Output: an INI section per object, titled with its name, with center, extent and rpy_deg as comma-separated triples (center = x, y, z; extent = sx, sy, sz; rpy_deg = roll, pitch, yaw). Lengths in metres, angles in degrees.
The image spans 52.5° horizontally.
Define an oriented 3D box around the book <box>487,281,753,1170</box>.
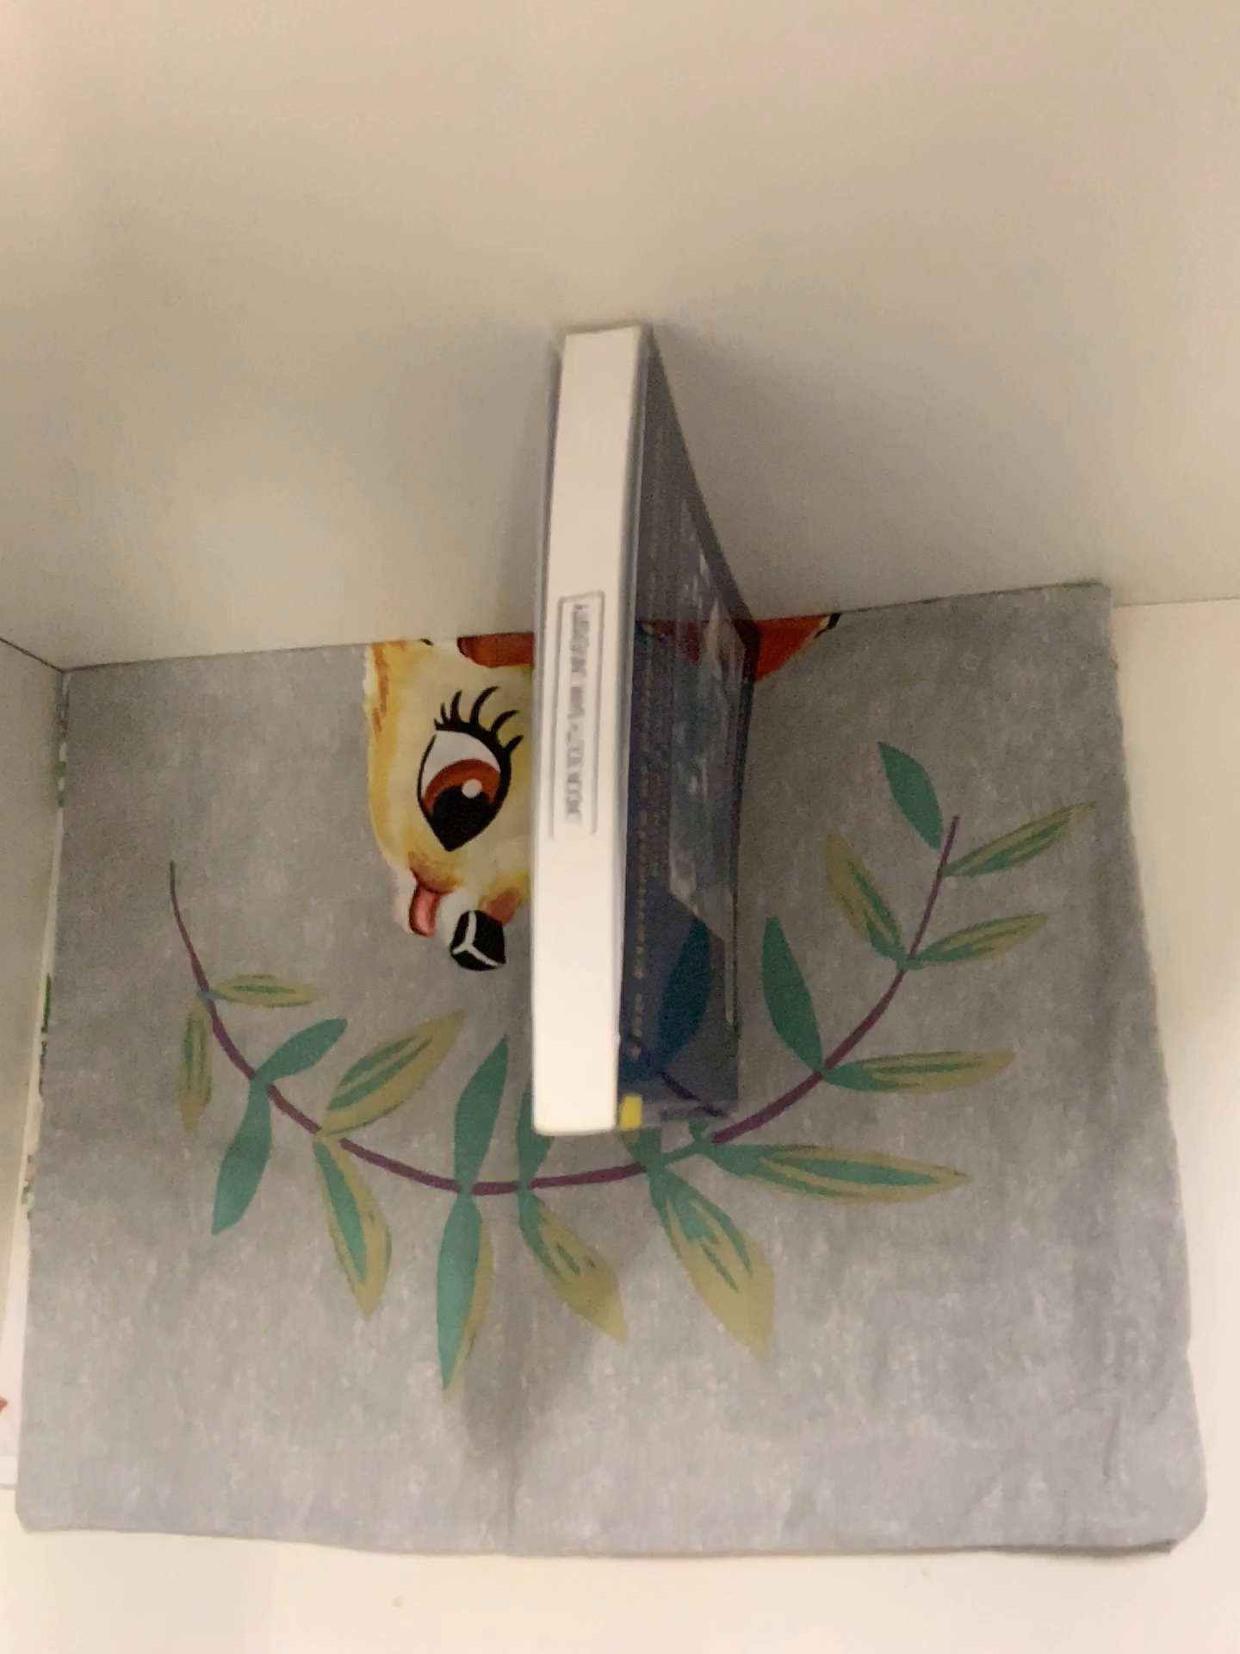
[book]
center = 0.014, -0.007, 0.417
extent = 0.030, 0.239, 0.220
rpy_deg = -1, 78, 13
